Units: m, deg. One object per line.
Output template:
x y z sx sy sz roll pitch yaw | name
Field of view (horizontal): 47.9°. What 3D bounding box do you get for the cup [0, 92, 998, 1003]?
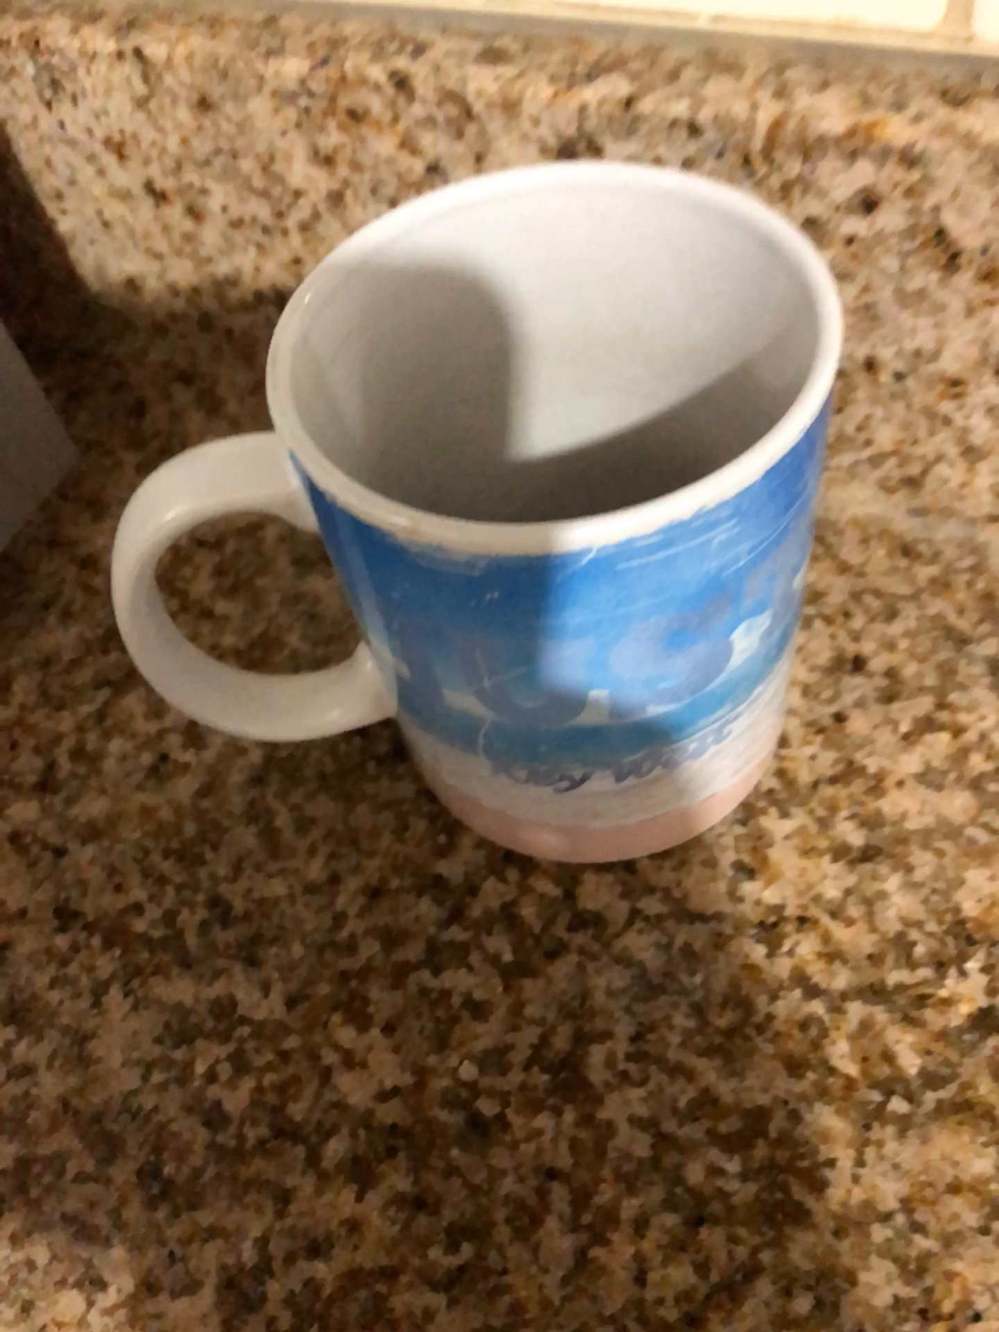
0.005 -0.016 0.187 0.130 0.090 0.090 -11 53 0 | cup
